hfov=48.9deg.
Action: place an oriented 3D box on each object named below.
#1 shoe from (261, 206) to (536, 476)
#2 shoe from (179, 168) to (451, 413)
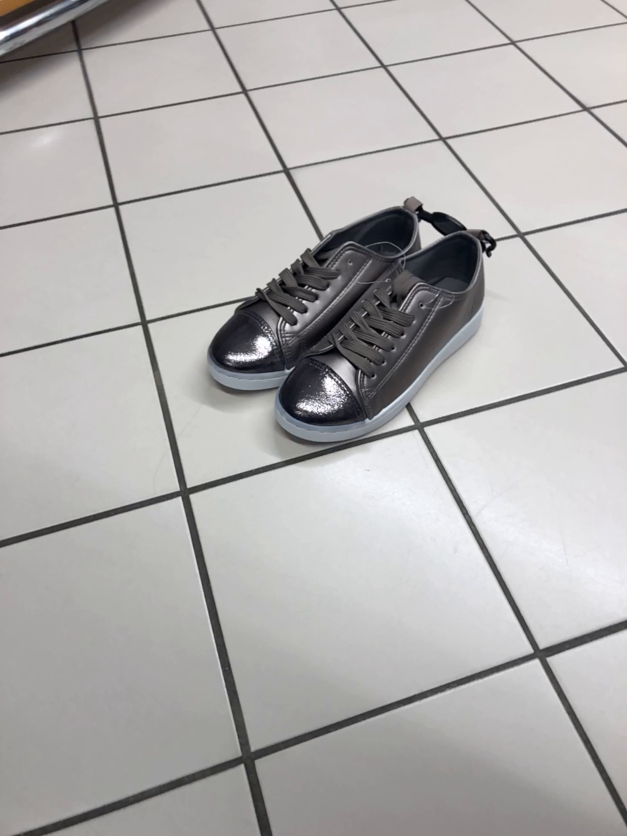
[{"bbox_3d":[0.076,-0.073,0.584,0.090,0.080,0.241,36,61,26],"label":"shoe"},{"bbox_3d":[0.008,-0.122,0.621,0.090,0.080,0.241,37,61,26],"label":"shoe"}]
